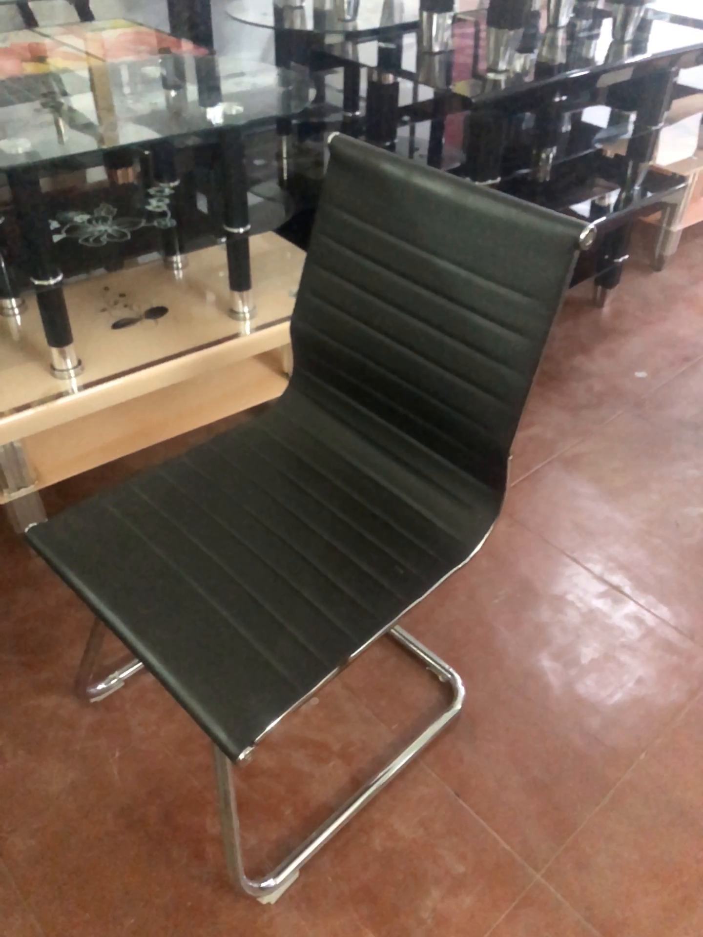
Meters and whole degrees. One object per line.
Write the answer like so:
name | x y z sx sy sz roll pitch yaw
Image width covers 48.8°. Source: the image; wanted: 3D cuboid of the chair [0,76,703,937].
chair | -0.077 0.041 1.053 0.590 0.855 0.683 33 48 32
